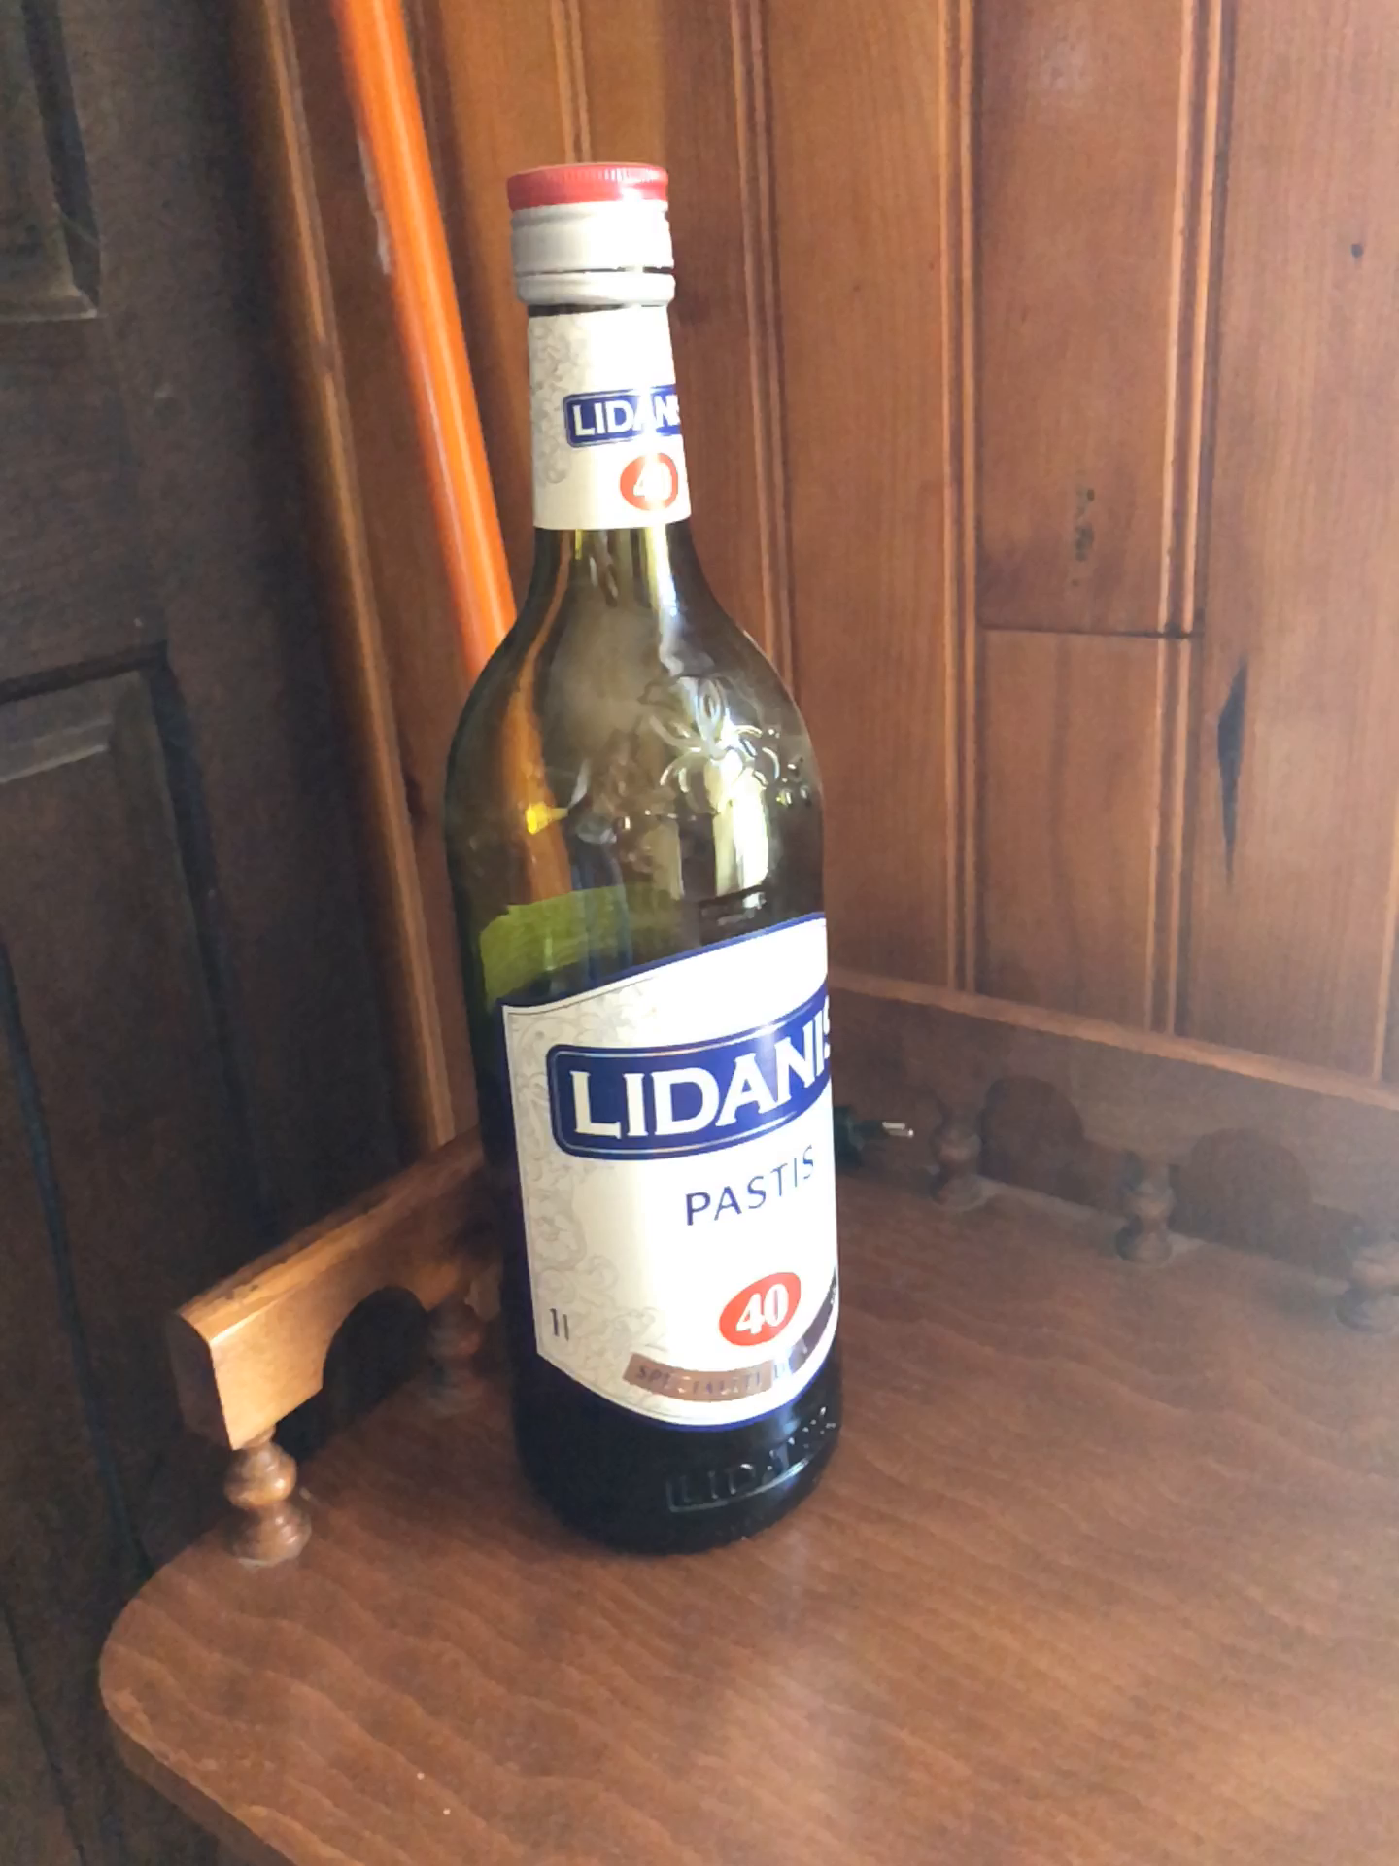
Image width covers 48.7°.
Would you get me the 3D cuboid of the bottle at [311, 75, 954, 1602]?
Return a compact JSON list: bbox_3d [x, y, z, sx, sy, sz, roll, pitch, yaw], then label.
[{"bbox_3d":[-0.005,-0.014,0.342,0.090,0.299,0.080,-17,25,-31],"label":"bottle"}]
